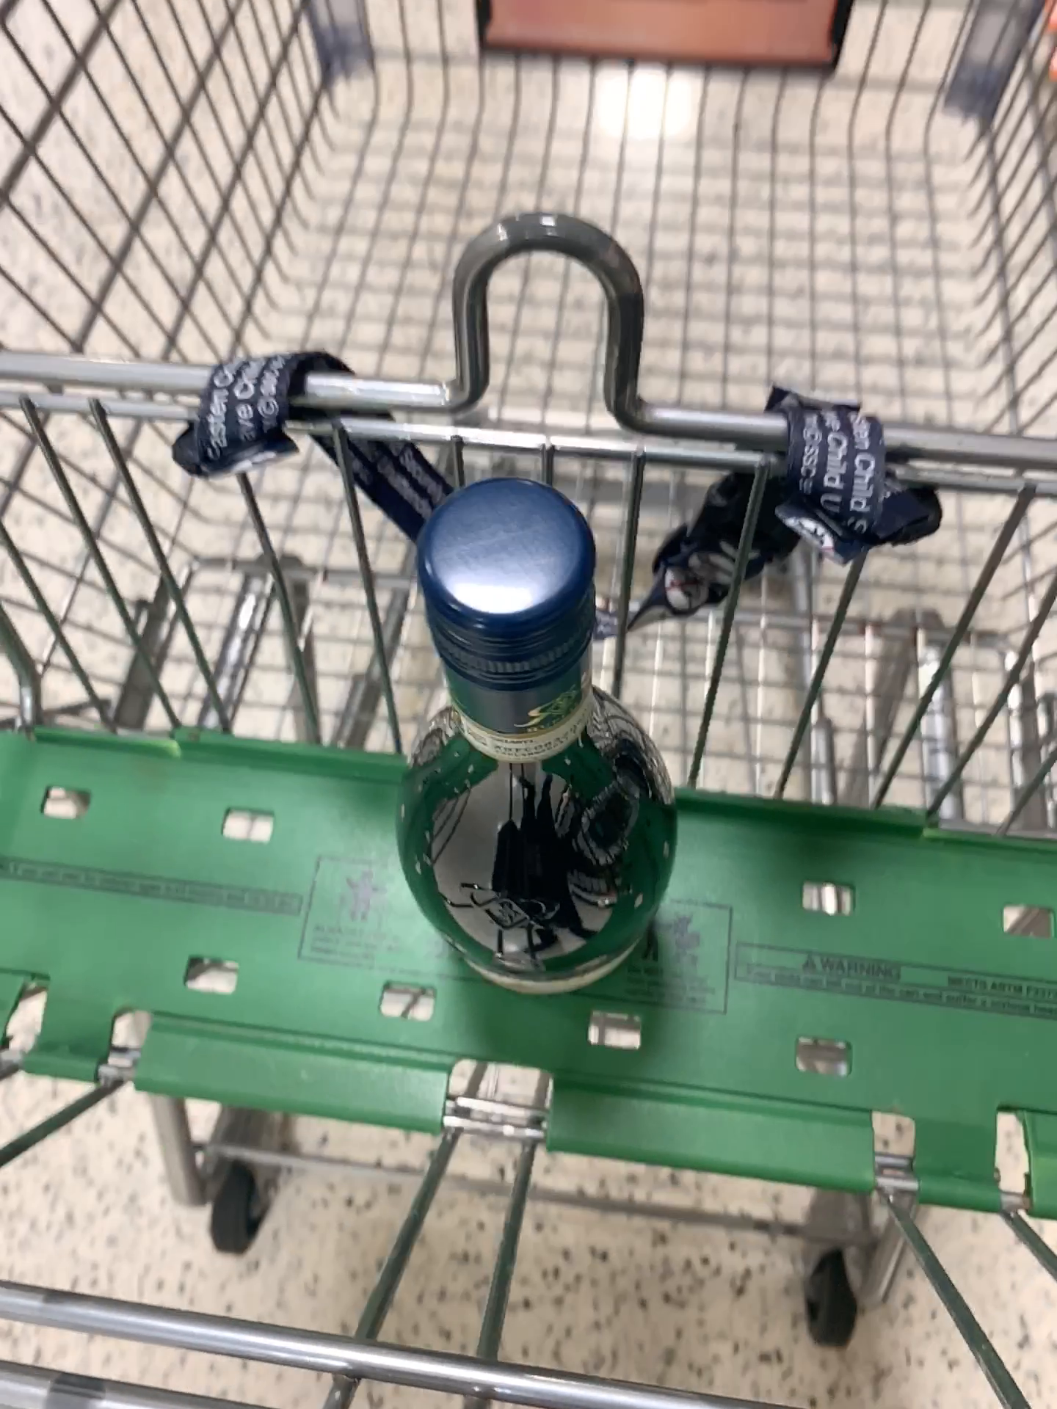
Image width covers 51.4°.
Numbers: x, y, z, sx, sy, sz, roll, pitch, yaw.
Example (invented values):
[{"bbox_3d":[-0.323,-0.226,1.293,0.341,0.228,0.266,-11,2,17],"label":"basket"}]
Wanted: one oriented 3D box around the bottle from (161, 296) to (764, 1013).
[{"bbox_3d":[-0.002,0.020,0.311,0.090,0.269,0.090,-1,68,2],"label":"bottle"}]
